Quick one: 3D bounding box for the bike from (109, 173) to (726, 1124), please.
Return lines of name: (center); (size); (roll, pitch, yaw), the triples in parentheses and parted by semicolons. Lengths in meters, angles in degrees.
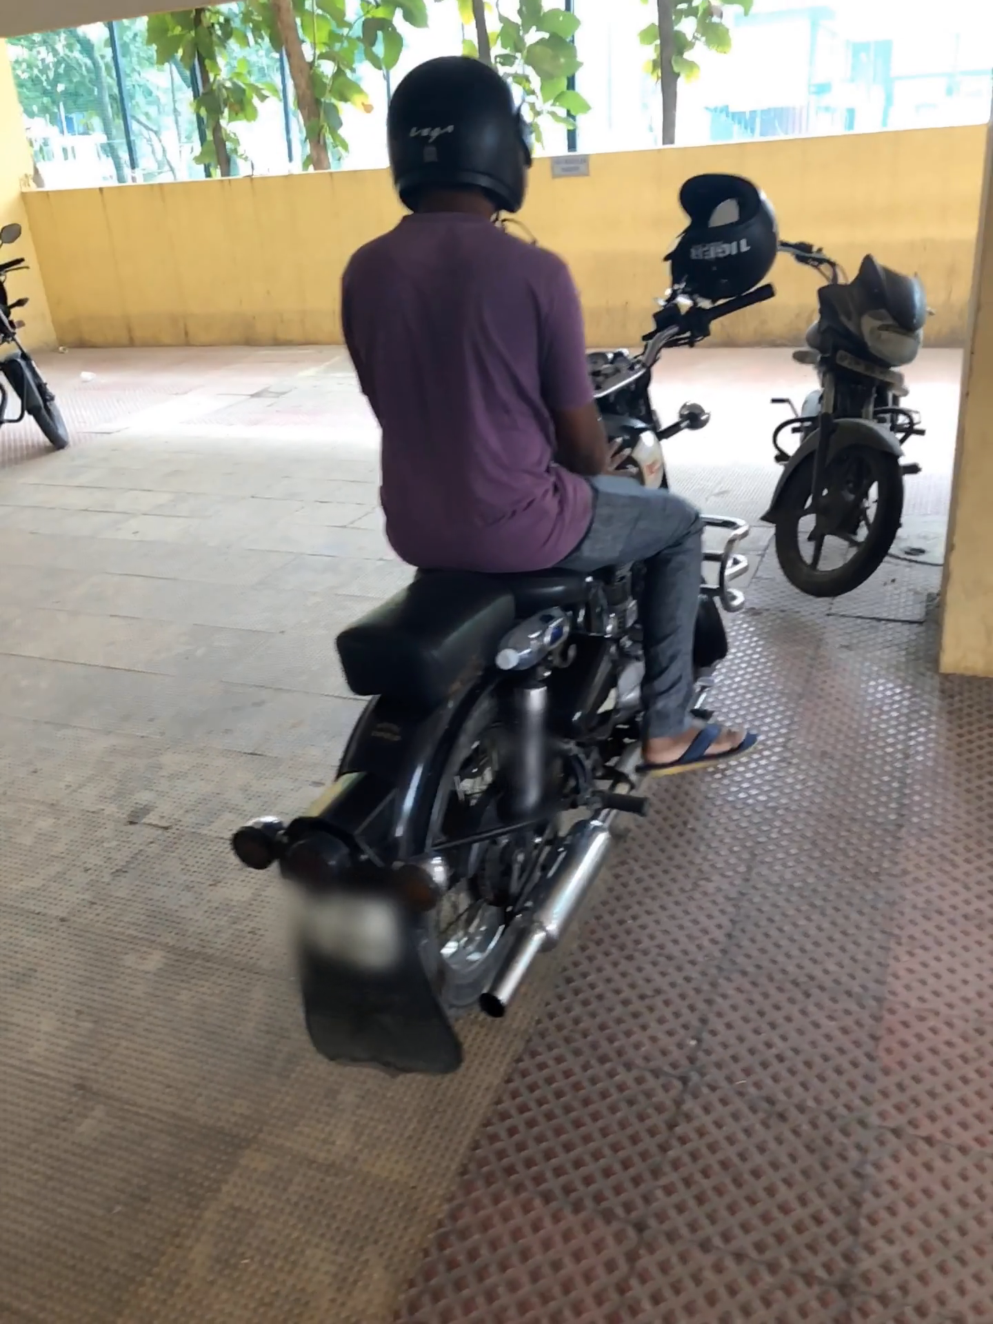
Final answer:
bike: (0.046, -0.279, 2.357); (0.726, 1.096, 1.772); (3, 31, 17)
